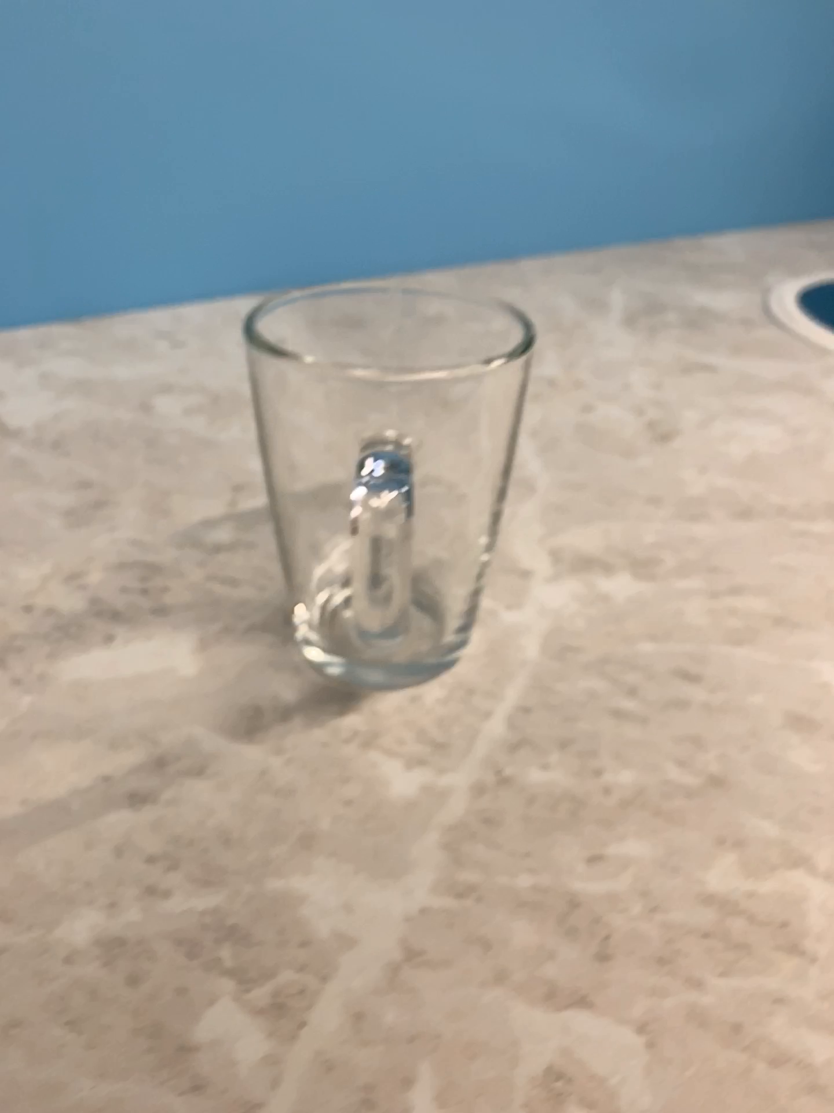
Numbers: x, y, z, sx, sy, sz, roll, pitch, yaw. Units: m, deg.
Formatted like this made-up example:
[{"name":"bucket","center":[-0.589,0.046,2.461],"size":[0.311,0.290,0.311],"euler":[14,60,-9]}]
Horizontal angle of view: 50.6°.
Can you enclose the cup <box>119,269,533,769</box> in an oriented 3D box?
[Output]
[{"name":"cup","center":[-0.016,-0.019,0.262],"size":[0.089,0.097,0.116],"euler":[5,32,4]}]
